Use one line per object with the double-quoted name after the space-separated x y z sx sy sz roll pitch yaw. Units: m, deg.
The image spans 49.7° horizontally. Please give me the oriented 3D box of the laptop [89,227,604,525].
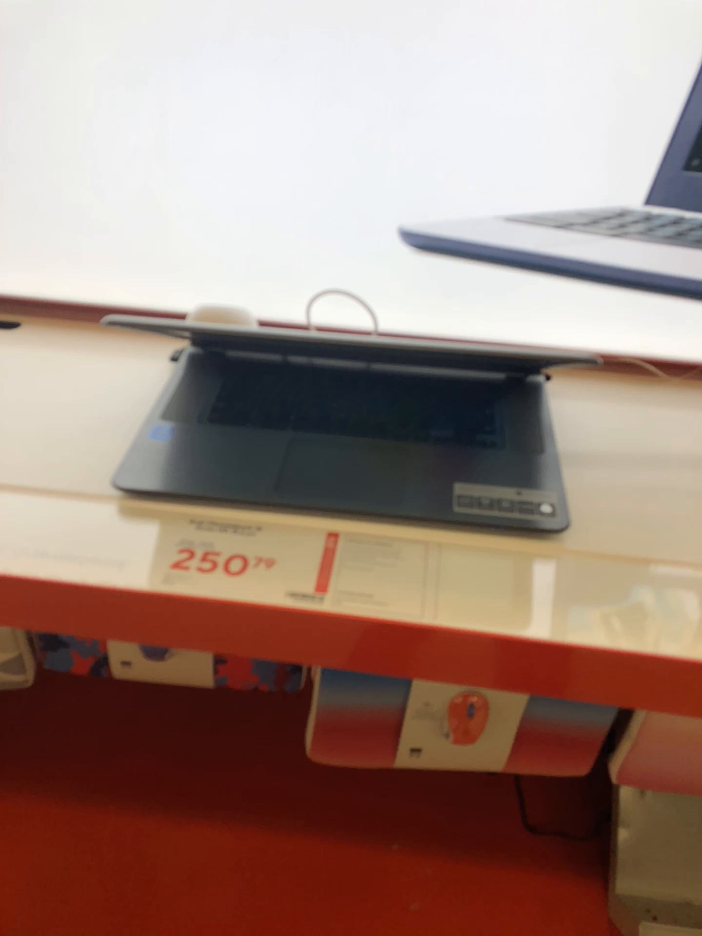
0.002 -0.094 0.661 0.363 0.122 0.238 6 36 3 "laptop"
